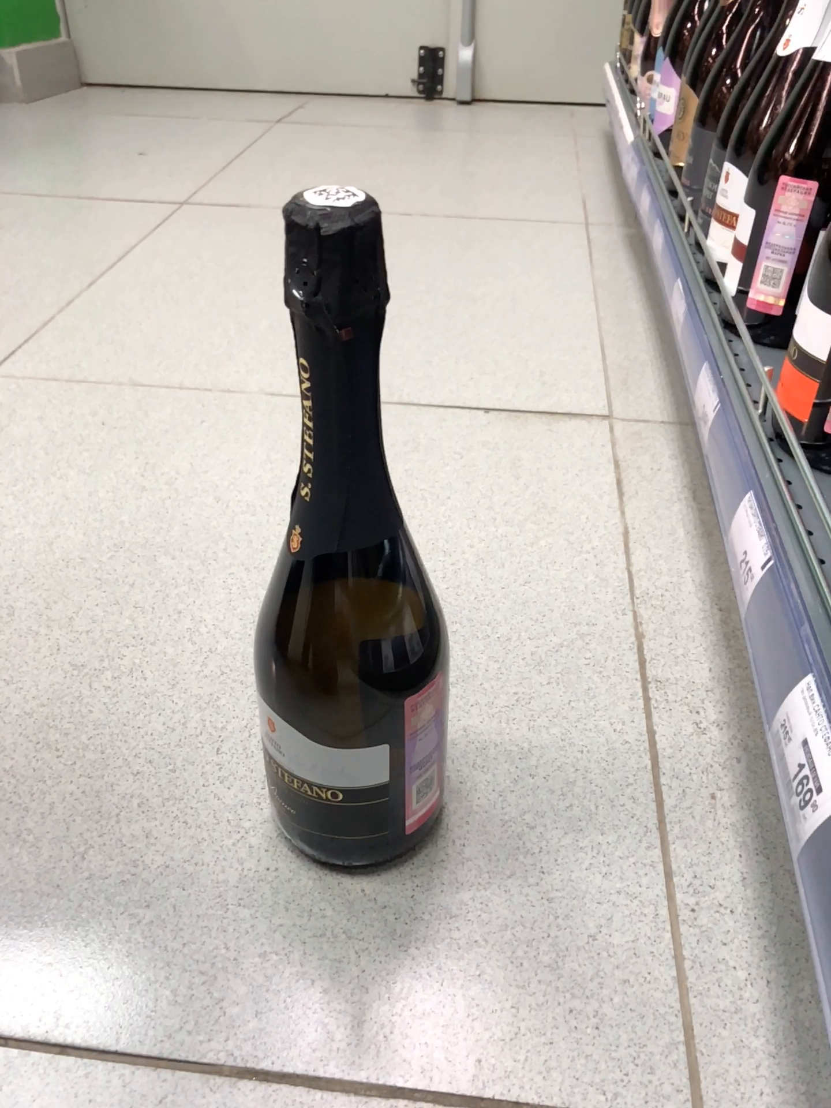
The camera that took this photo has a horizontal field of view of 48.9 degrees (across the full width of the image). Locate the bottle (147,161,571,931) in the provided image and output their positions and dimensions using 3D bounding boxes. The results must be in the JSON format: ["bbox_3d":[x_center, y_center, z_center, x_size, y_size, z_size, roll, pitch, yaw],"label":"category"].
[{"bbox_3d":[-0.024,0.006,0.392,0.100,0.298,0.110,-21,40,-28],"label":"bottle"}]
